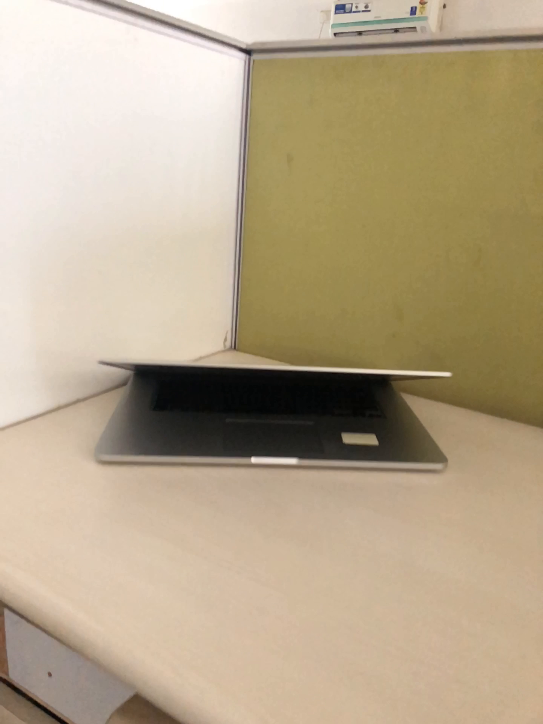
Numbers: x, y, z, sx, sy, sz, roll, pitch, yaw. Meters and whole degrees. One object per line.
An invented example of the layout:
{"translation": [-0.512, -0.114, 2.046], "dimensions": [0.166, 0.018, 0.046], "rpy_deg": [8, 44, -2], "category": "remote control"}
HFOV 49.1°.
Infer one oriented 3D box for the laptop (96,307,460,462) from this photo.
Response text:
{"translation": [0.000, 0.014, 0.685], "dimensions": [0.343, 0.083, 0.244], "rpy_deg": [3, 18, -4], "category": "laptop"}
